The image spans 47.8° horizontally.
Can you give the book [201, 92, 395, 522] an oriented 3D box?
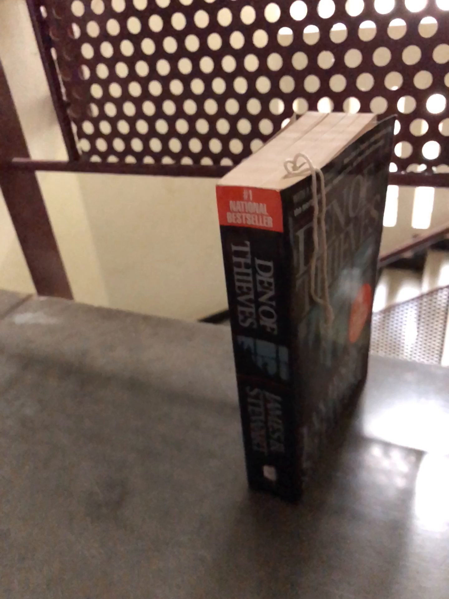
[{"bbox_3d":[0.061,-0.002,0.333,0.050,0.219,0.171,10,35,26],"label":"book"}]
